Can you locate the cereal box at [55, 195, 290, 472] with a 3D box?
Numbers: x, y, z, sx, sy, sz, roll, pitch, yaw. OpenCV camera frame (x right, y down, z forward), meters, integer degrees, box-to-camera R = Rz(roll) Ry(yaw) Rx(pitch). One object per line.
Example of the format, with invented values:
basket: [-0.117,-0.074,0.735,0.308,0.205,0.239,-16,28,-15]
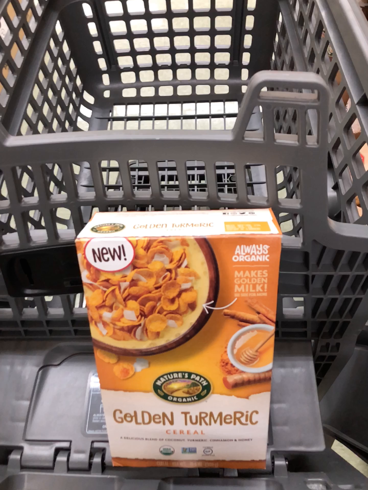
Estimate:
cereal box: [-0.005,0.093,0.395,0.180,0.270,0.070,-1,23,3]
